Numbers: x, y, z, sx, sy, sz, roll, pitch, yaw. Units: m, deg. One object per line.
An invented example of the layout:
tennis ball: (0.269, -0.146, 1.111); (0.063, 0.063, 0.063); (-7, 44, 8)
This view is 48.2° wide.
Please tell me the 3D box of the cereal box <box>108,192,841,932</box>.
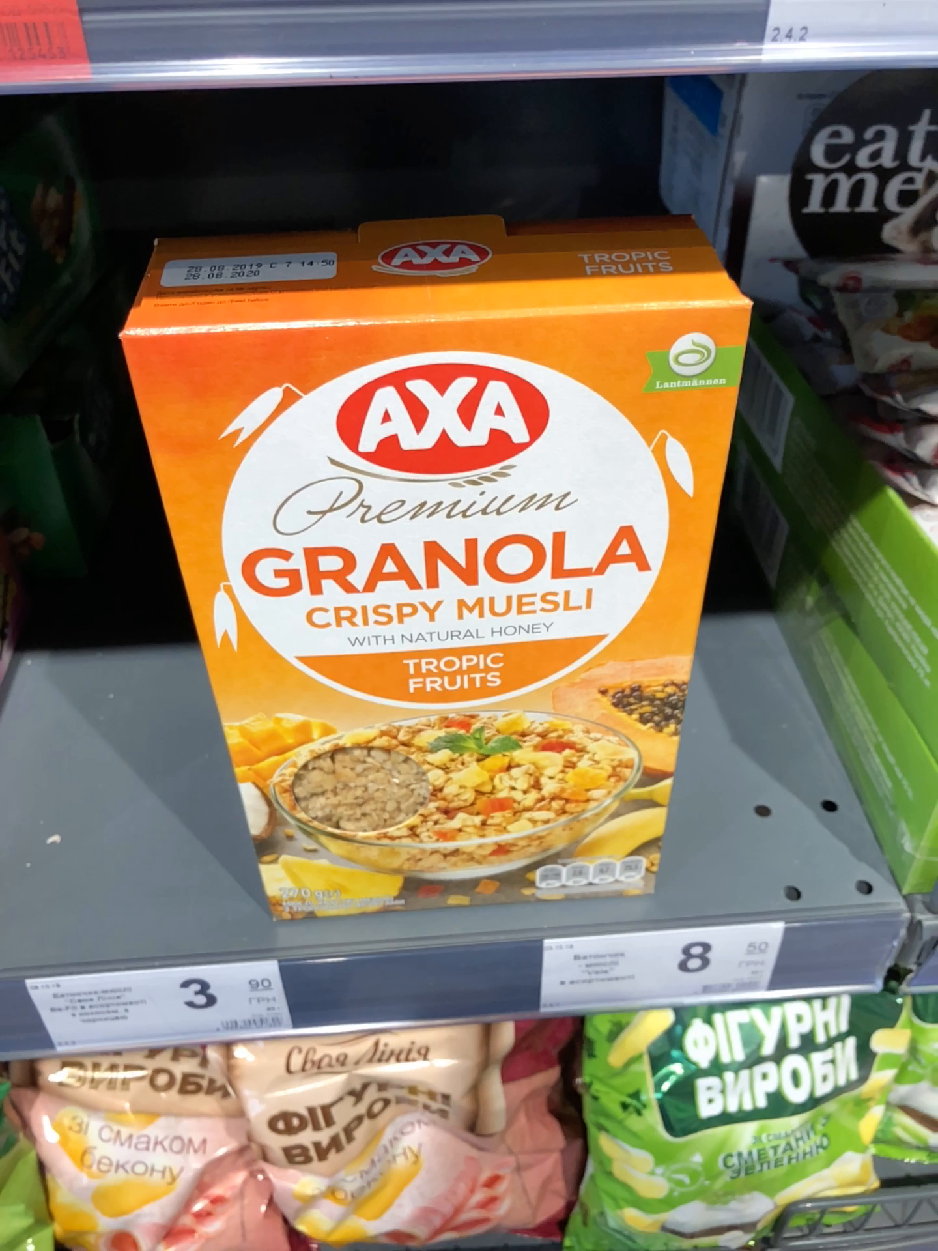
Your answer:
cereal box: (0.001, -0.001, 0.288); (0.140, 0.208, 0.050); (-4, 42, -4)
